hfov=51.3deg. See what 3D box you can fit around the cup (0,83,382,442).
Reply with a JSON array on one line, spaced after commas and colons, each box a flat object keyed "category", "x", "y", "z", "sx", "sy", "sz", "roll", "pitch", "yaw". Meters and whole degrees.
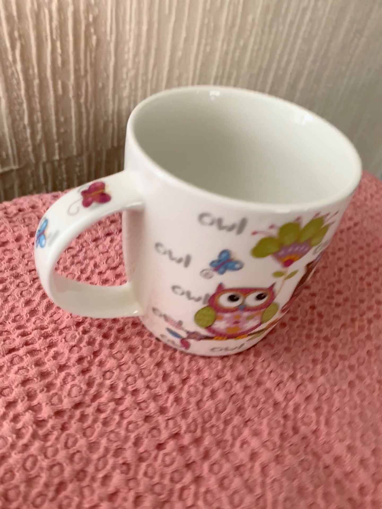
[{"category": "cup", "x": -0.002, "y": -0.007, "z": 0.168, "sx": 0.120, "sy": 0.089, "sz": 0.091, "roll": -14, "pitch": 50, "yaw": -26}]
